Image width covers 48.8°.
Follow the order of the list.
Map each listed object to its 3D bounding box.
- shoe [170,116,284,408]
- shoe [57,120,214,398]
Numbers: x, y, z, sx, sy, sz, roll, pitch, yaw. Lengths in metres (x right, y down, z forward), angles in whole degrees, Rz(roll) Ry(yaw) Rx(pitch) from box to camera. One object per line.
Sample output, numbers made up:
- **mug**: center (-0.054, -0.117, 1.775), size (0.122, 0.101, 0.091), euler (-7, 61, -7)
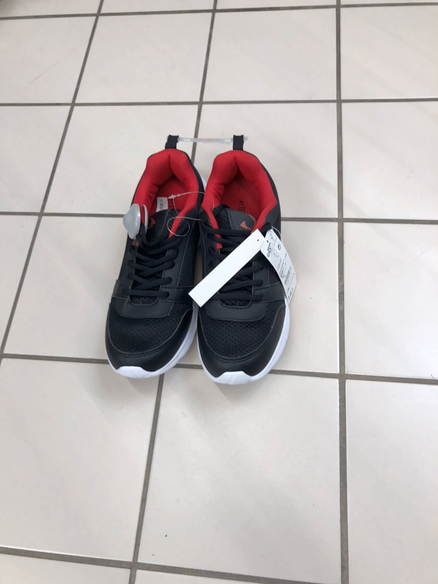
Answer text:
- **shoe**: center (0.020, -0.034, 0.539), size (0.100, 0.130, 0.296), euler (0, 65, 7)
- **shoe**: center (-0.077, -0.039, 0.549), size (0.100, 0.130, 0.286), euler (2, 65, 8)
